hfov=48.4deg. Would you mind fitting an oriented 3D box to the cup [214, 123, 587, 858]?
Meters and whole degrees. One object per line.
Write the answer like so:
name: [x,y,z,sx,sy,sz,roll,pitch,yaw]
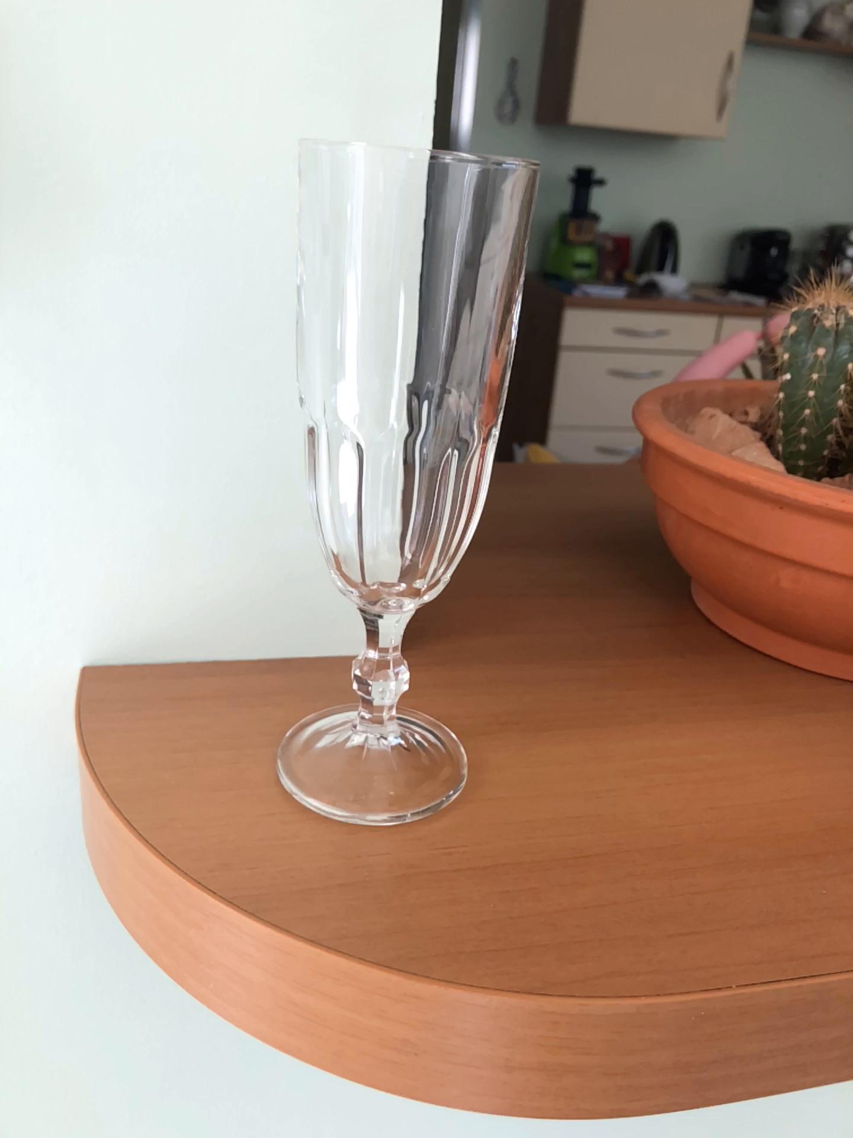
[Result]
cup: [-0.009,-0.020,0.250,0.070,0.169,0.060,11,24,14]
